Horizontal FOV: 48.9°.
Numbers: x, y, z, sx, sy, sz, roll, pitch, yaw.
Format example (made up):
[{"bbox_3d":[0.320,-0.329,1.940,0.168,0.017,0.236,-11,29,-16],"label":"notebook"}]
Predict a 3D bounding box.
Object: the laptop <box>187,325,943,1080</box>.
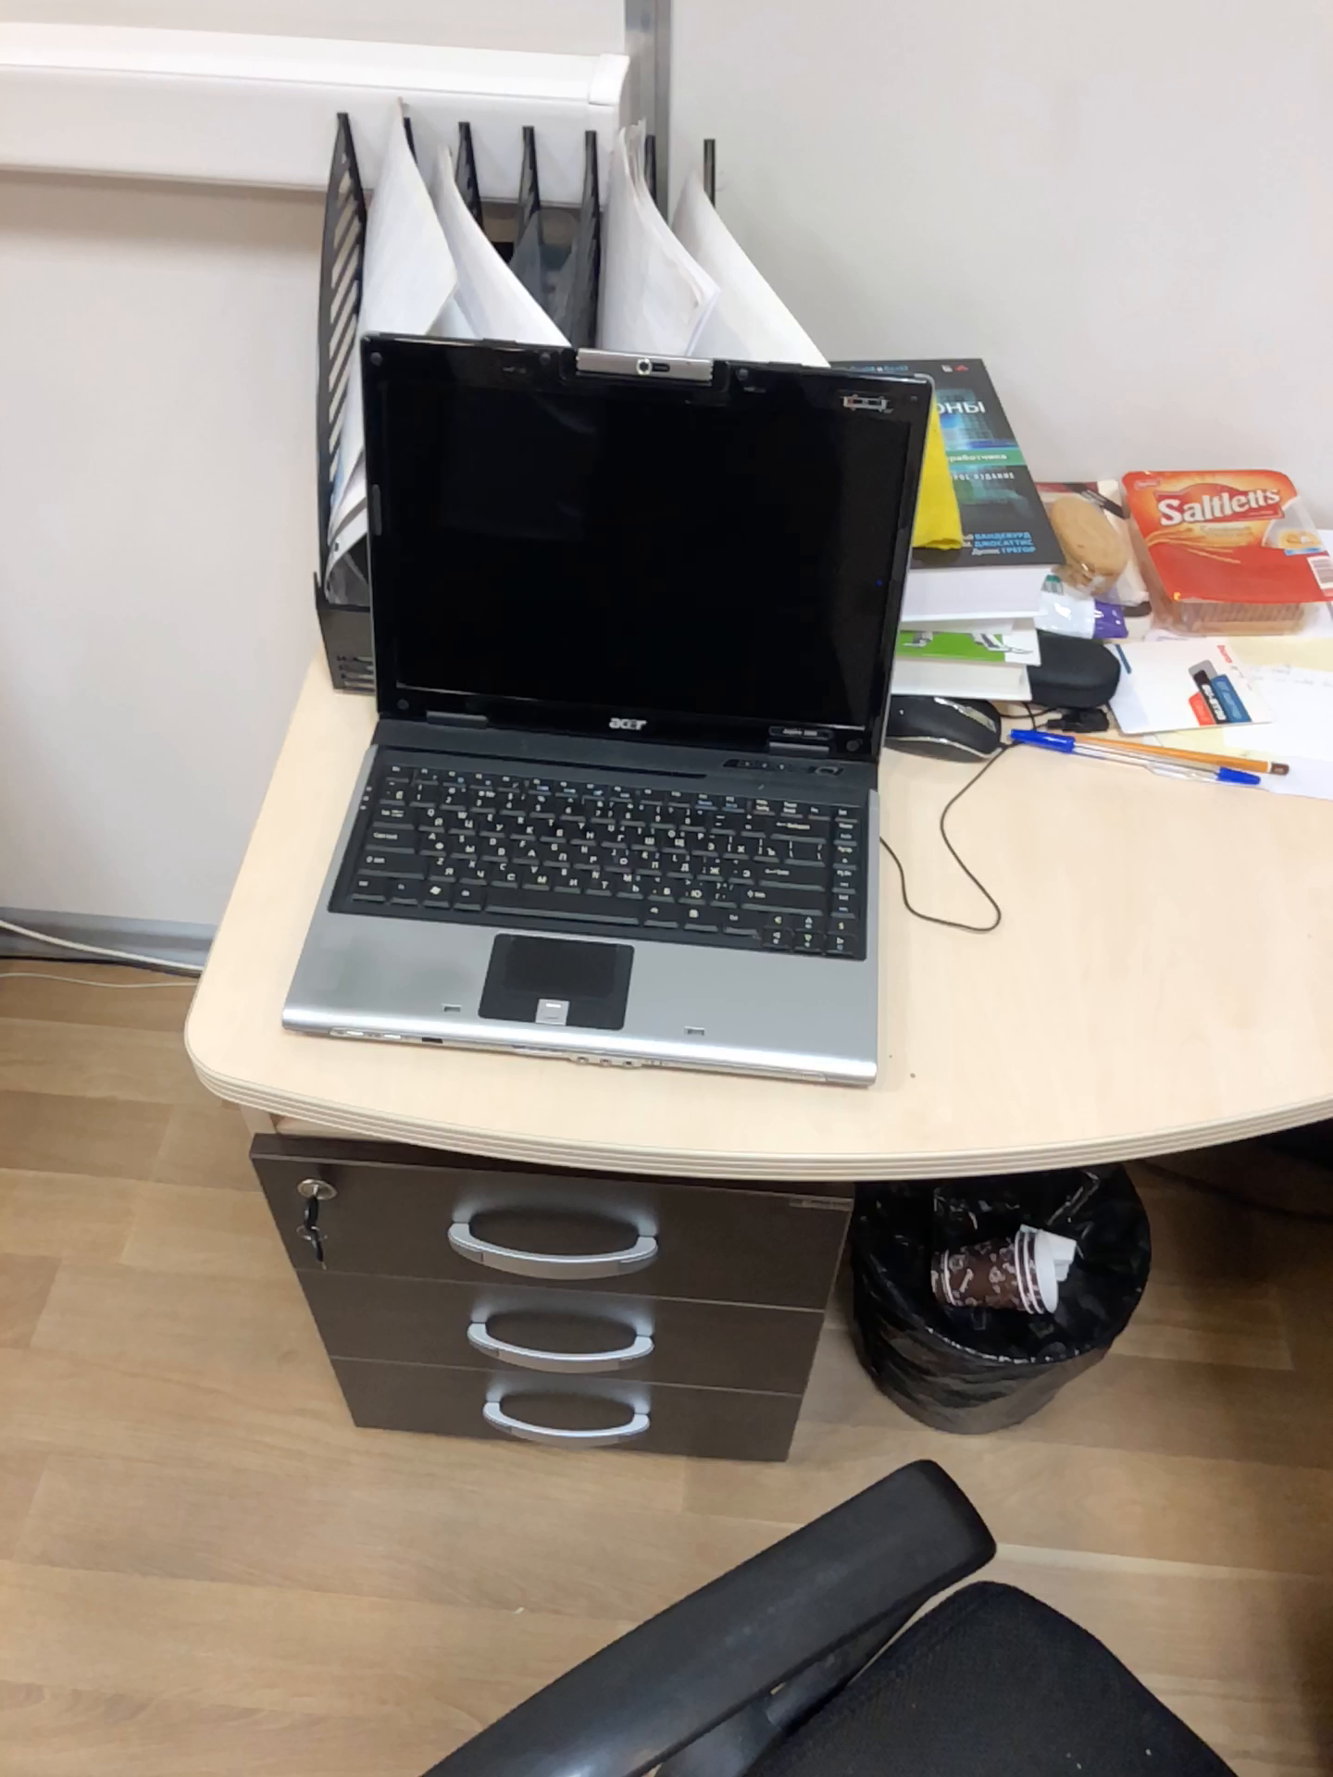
[{"bbox_3d":[-0.031,-0.109,0.811,0.325,0.219,0.325,5,51,3],"label":"laptop"}]
